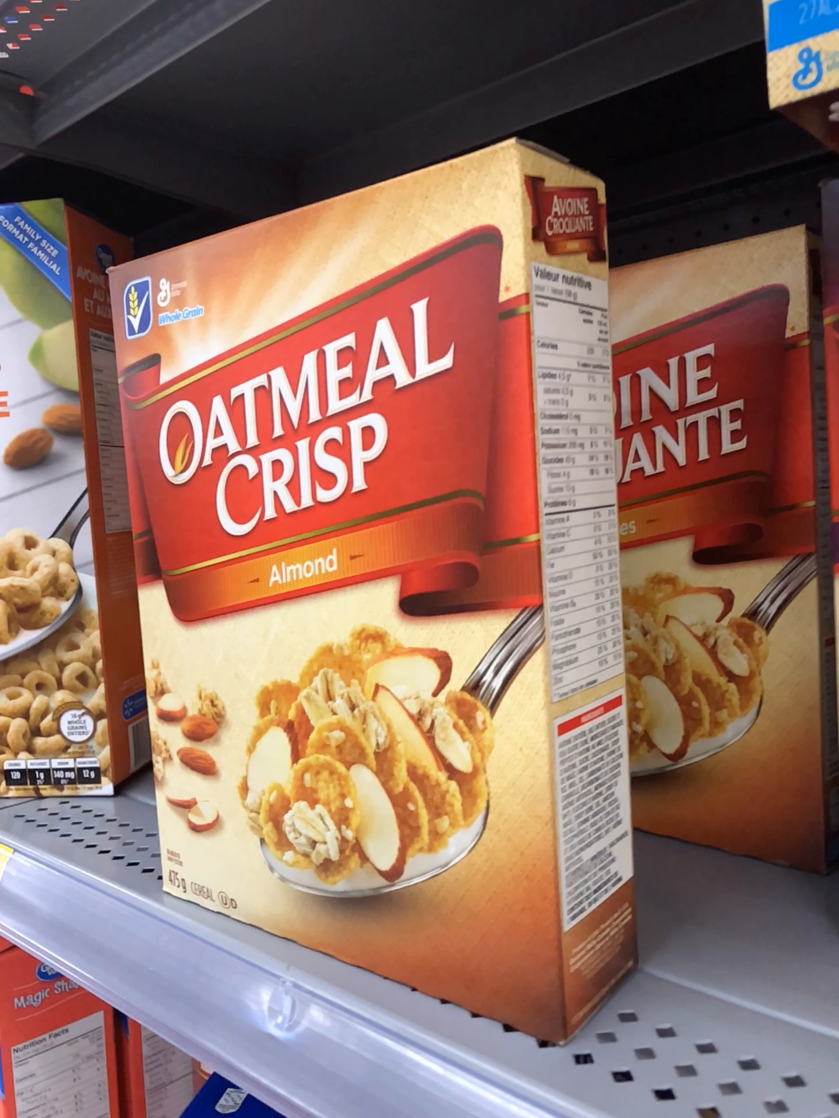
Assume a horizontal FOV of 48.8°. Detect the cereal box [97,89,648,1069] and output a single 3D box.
[{"bbox_3d":[-0.028,0.007,0.347,0.210,0.280,0.050,0,5,38],"label":"cereal box"}]
